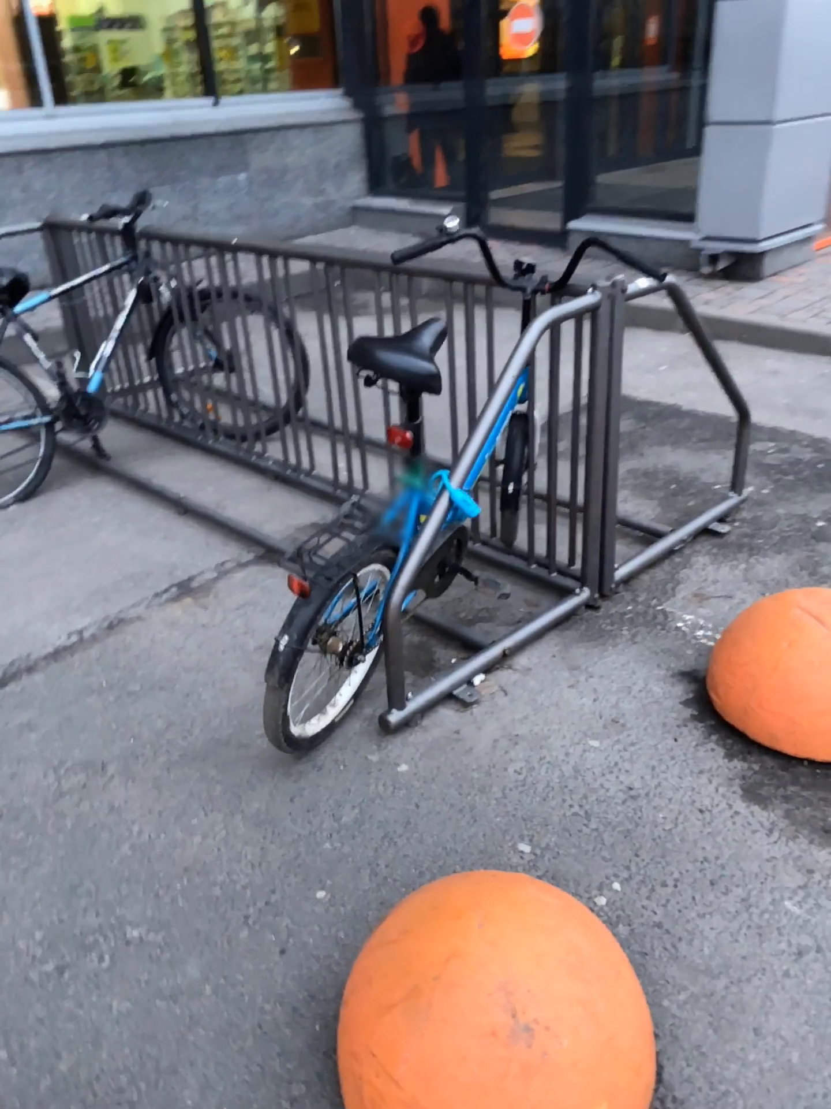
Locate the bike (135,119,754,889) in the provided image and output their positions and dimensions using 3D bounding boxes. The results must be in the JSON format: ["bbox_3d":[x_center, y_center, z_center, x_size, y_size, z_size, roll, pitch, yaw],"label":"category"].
[{"bbox_3d":[0.200,-0.282,2.107,0.724,0.991,1.427,11,37,26],"label":"bike"}]
